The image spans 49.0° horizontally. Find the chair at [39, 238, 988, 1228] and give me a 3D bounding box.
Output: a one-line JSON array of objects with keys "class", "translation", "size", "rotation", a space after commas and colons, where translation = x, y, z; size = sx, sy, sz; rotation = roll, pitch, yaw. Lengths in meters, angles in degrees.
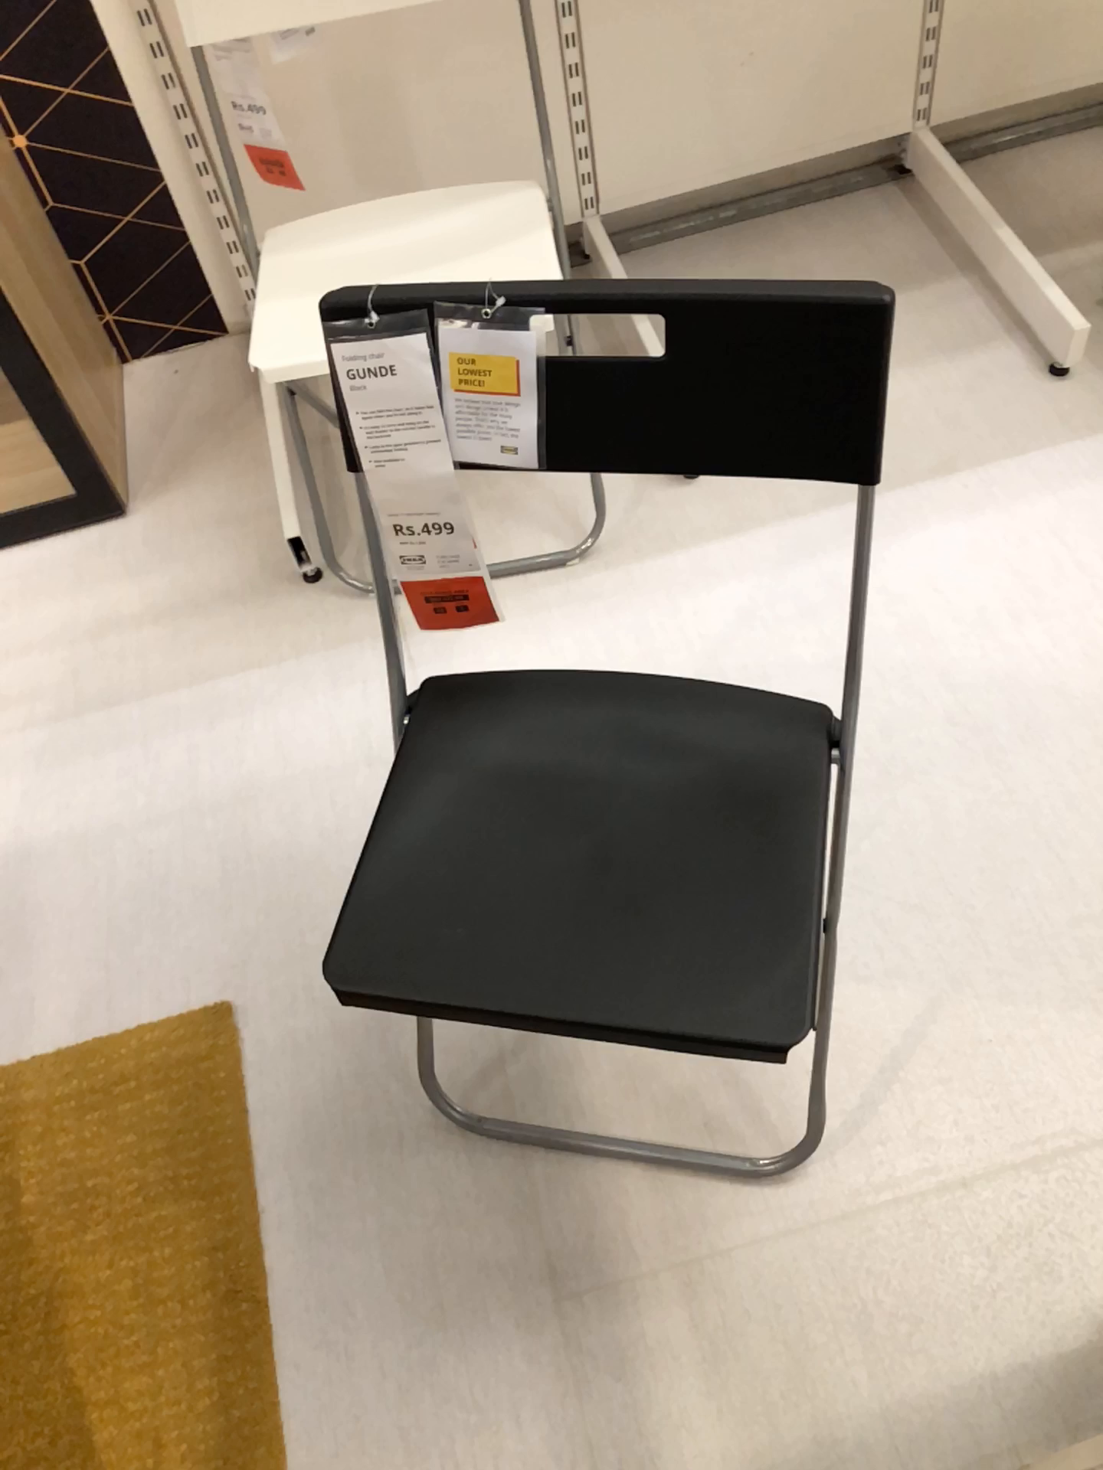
[{"class": "chair", "translation": [0.051, 0.059, 1.064], "size": [0.500, 0.786, 0.462], "rotation": [4, 56, 12]}]
